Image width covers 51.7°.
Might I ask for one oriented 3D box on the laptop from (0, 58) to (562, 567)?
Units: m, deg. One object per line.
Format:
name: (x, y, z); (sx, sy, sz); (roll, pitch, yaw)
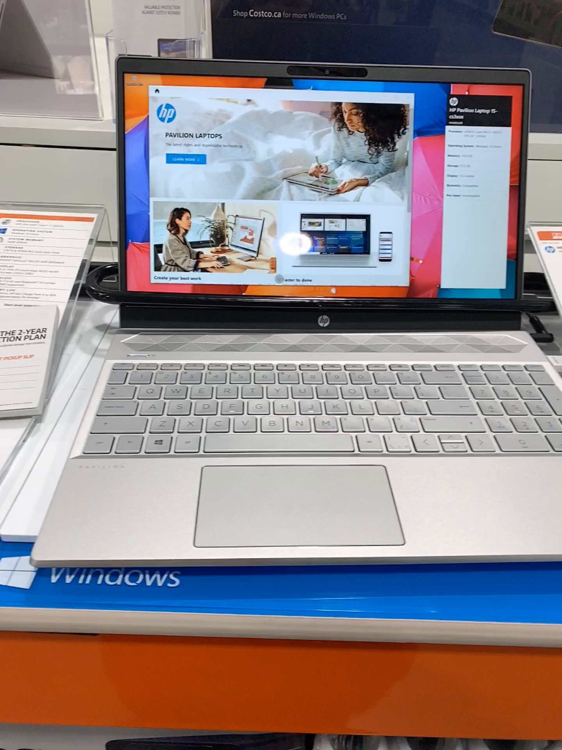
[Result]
laptop: (0.043, -0.079, 0.377); (0.332, 0.175, 0.335); (0, 35, -3)
